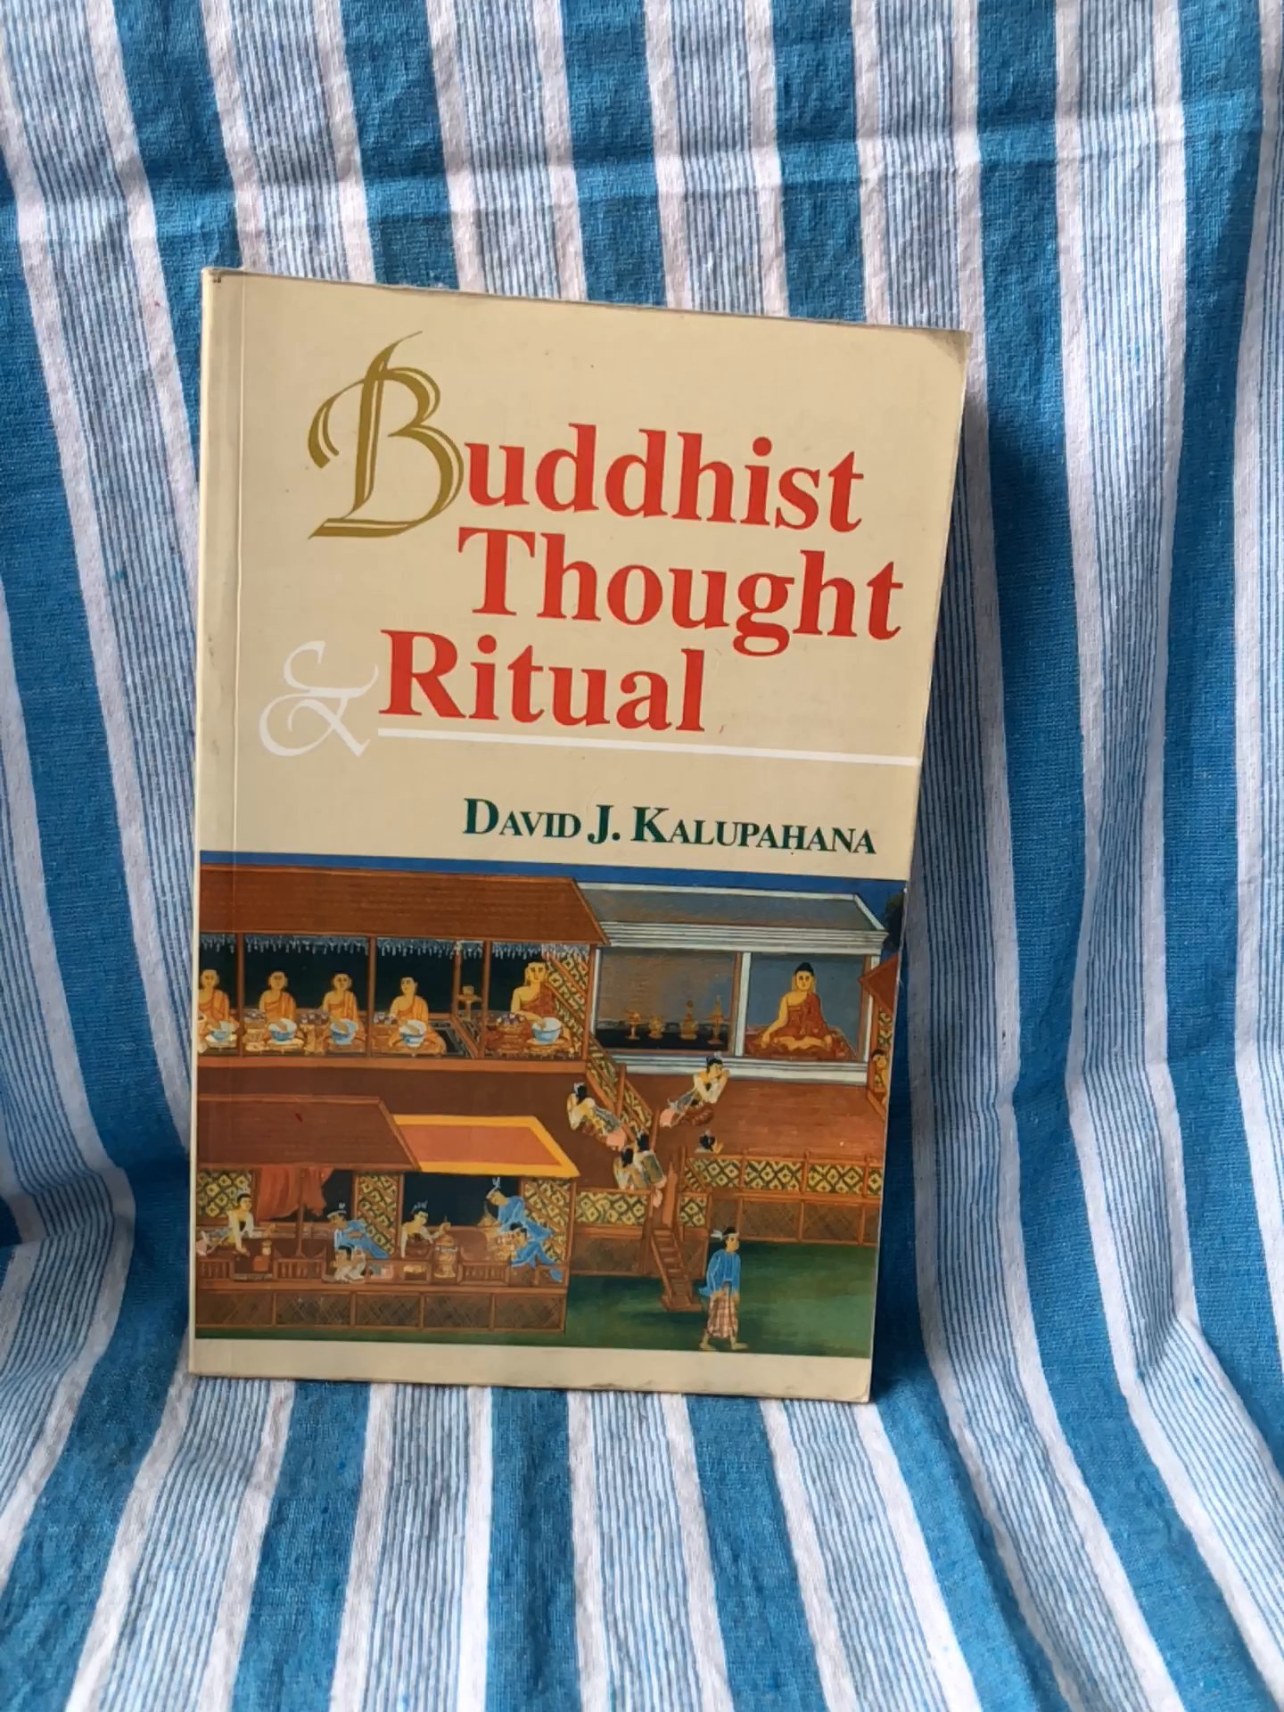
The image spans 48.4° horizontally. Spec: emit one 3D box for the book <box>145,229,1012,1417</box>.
[{"bbox_3d":[-0.017,0.003,0.279,0.150,0.219,0.020,3,12,-5],"label":"book"}]
